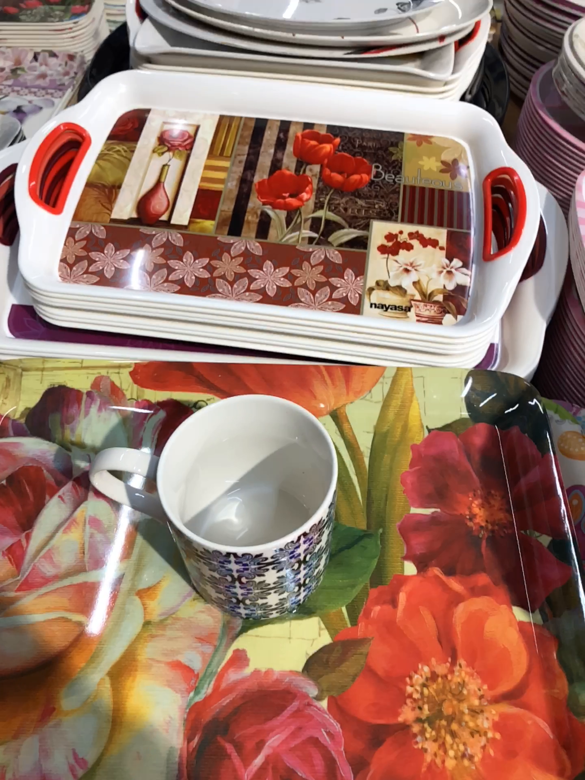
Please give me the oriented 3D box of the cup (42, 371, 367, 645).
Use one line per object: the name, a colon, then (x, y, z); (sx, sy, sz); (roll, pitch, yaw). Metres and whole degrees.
cup: (-0.034, 0.061, 0.326); (0.130, 0.100, 0.090); (4, 51, 1)
